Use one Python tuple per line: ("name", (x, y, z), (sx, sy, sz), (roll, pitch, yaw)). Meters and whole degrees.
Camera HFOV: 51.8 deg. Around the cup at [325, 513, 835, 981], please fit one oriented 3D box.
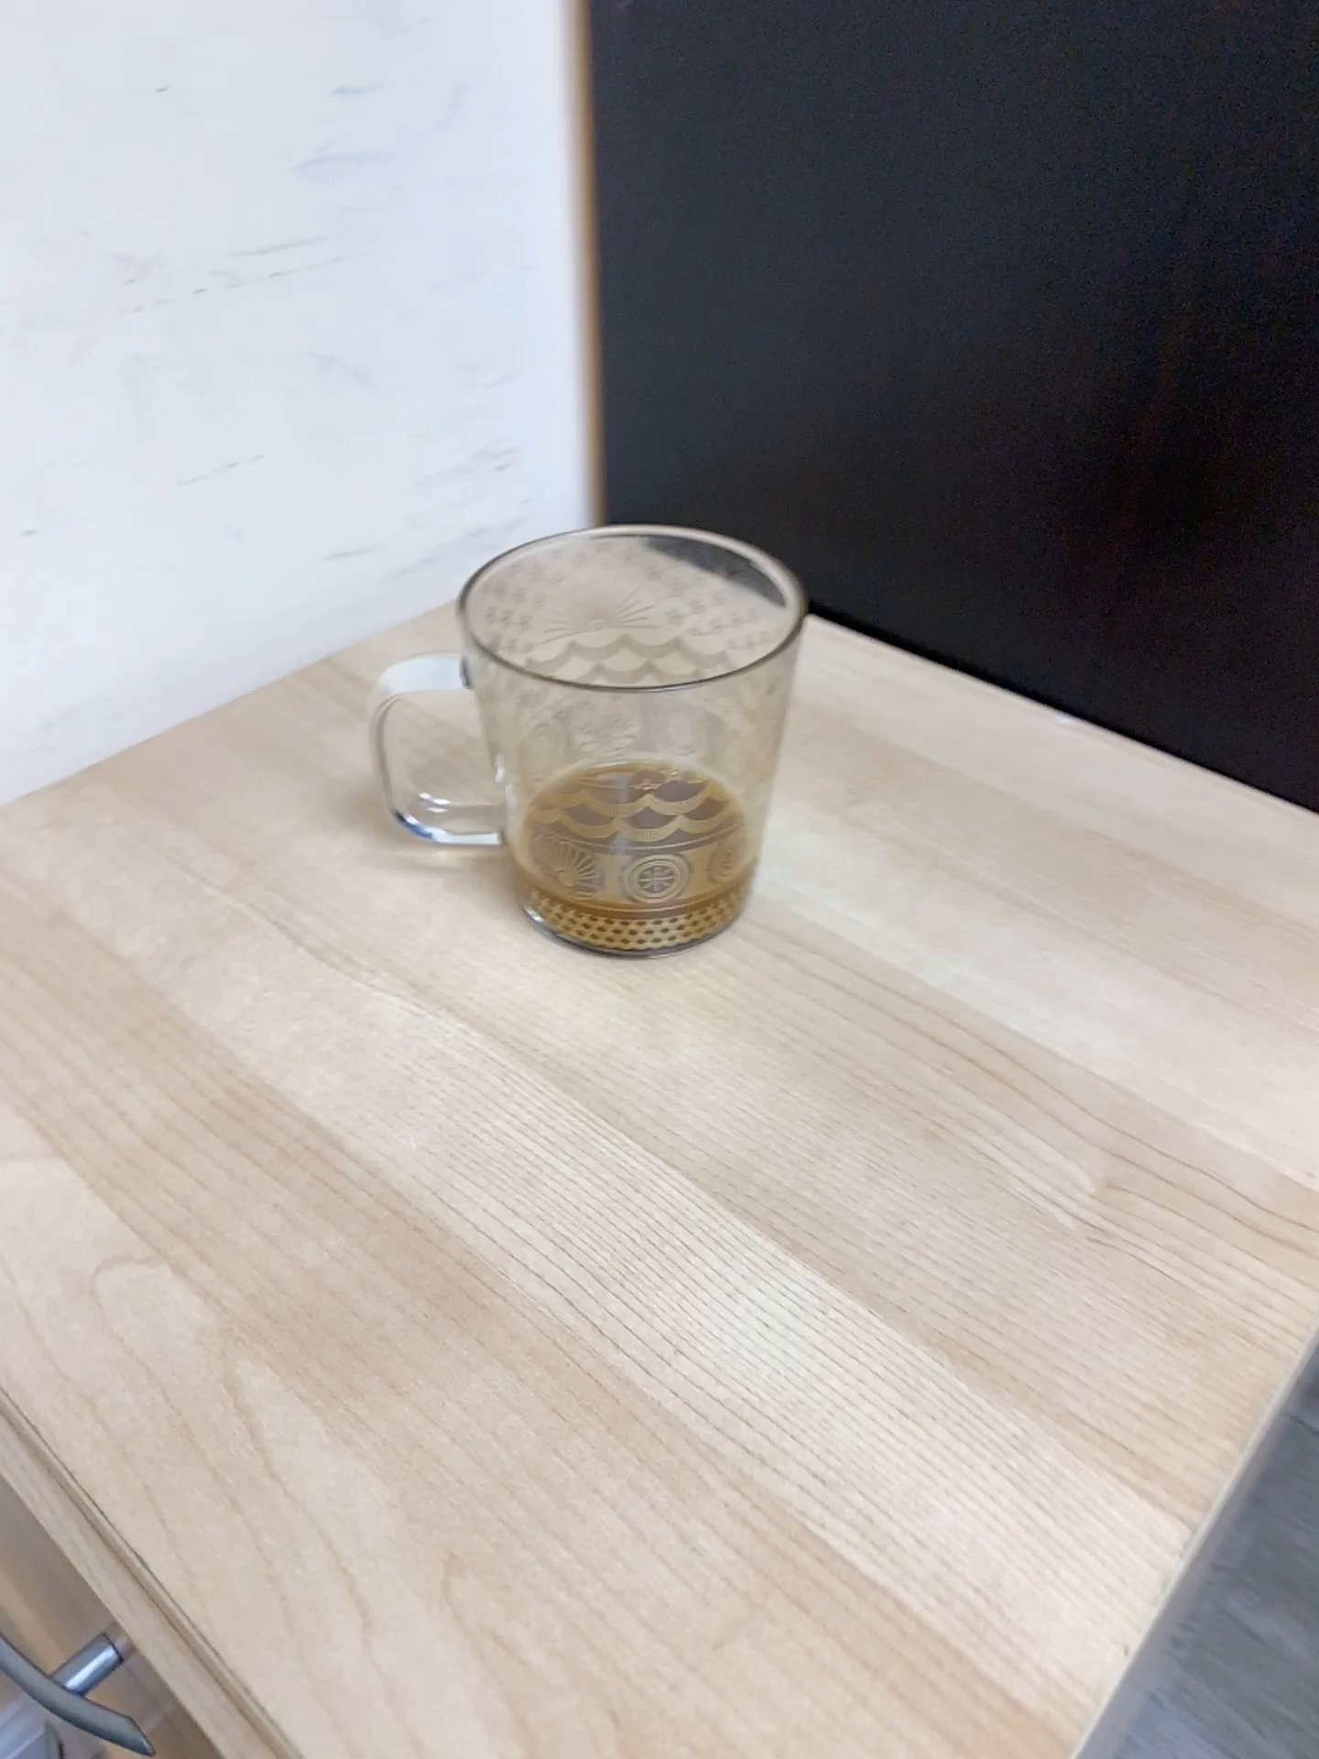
("cup", (-0.018, -0.041, 0.400), (0.124, 0.098, 0.099), (1, 38, 2))
